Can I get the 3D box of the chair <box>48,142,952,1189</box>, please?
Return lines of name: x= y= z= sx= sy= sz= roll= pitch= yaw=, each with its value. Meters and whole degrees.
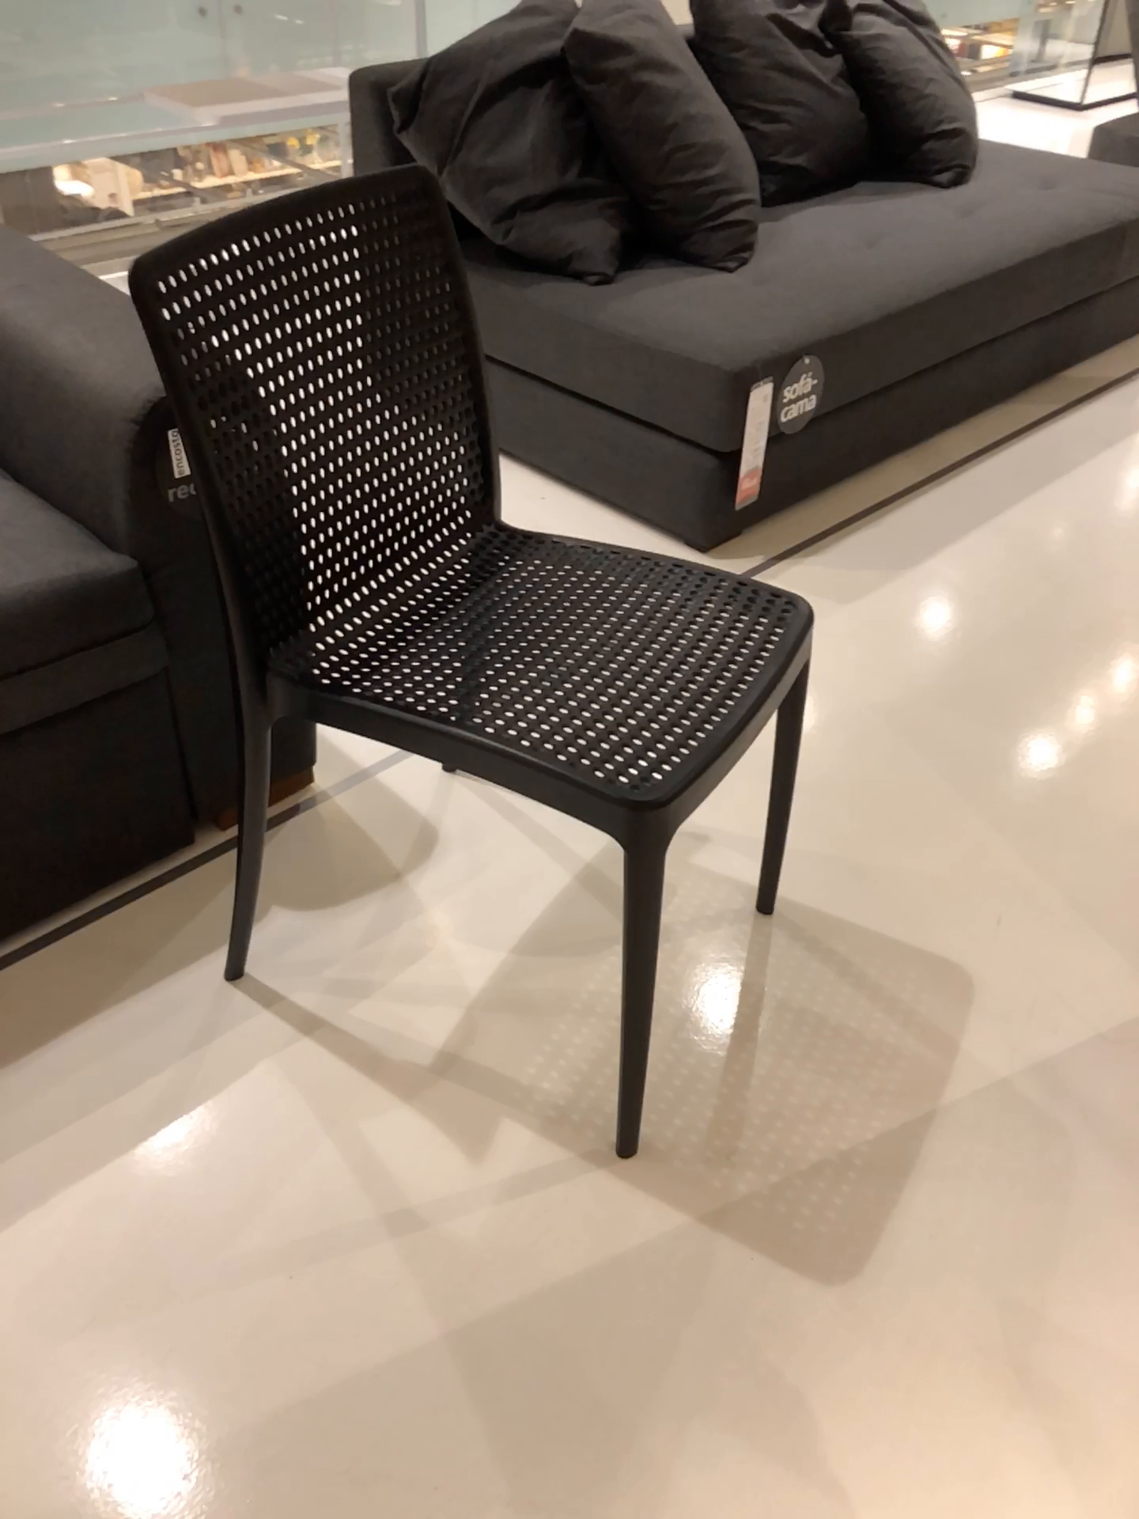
chair: x=-0.036 y=-0.118 z=1.276 sx=0.561 sy=0.784 sz=0.534 roll=19 pitch=40 yaw=21
